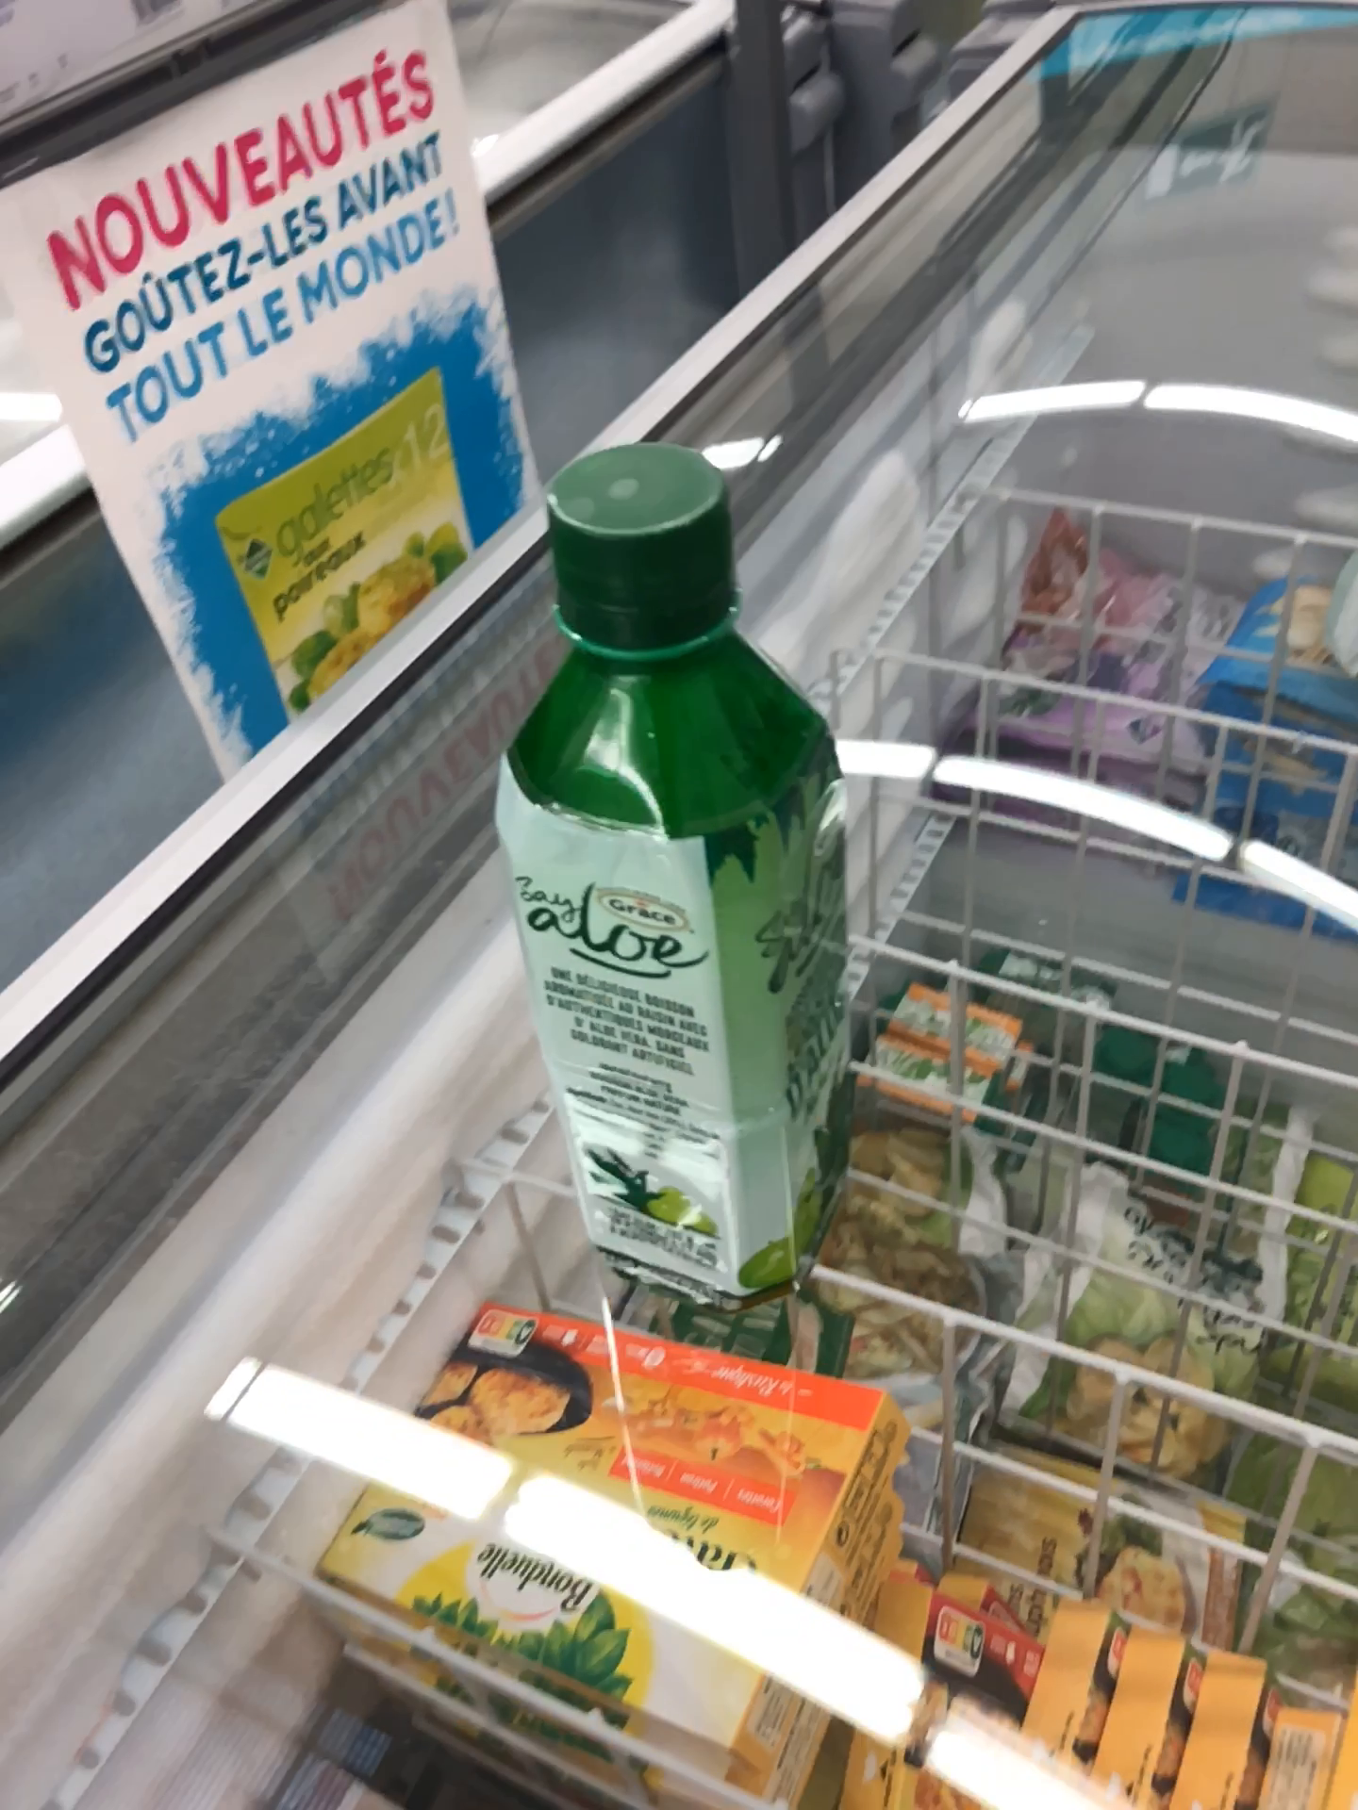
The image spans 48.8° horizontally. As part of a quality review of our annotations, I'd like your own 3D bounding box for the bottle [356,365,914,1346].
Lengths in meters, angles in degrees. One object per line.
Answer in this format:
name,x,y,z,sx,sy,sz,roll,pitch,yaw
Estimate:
bottle,0.005,0.000,0.315,0.070,0.199,0.070,-5,43,4
